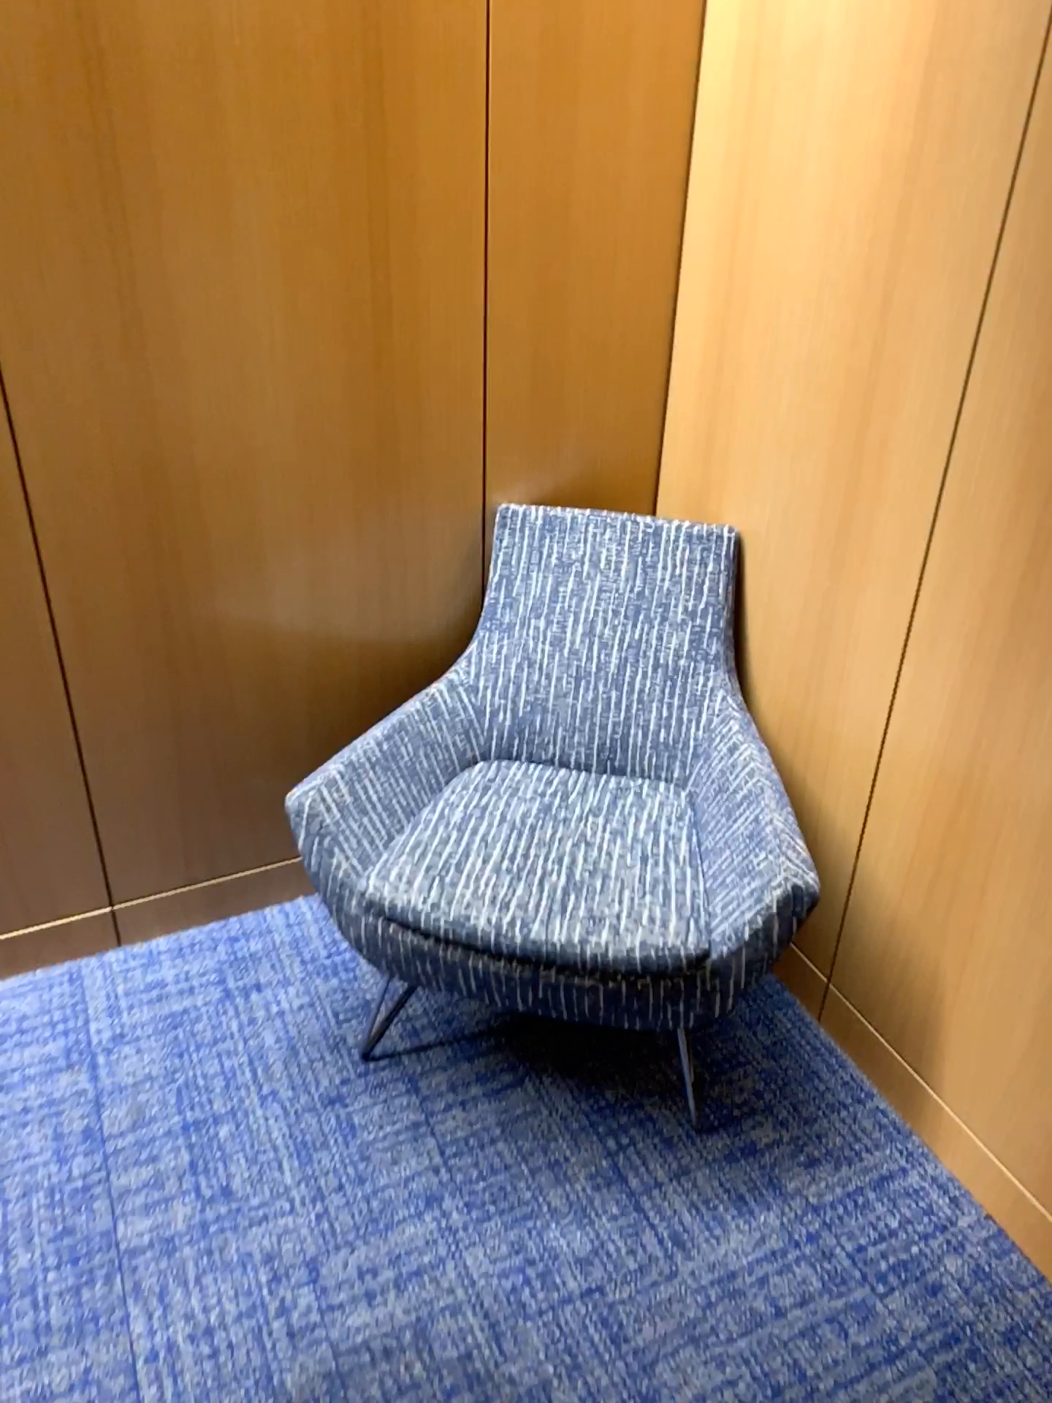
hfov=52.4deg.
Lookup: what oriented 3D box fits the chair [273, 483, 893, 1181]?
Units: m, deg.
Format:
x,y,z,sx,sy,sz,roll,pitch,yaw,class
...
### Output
x,y,z,sx,sy,sz,roll,pitch,yaw,class
0.096,0.157,1.640,0.699,0.746,0.617,7,30,9,chair
